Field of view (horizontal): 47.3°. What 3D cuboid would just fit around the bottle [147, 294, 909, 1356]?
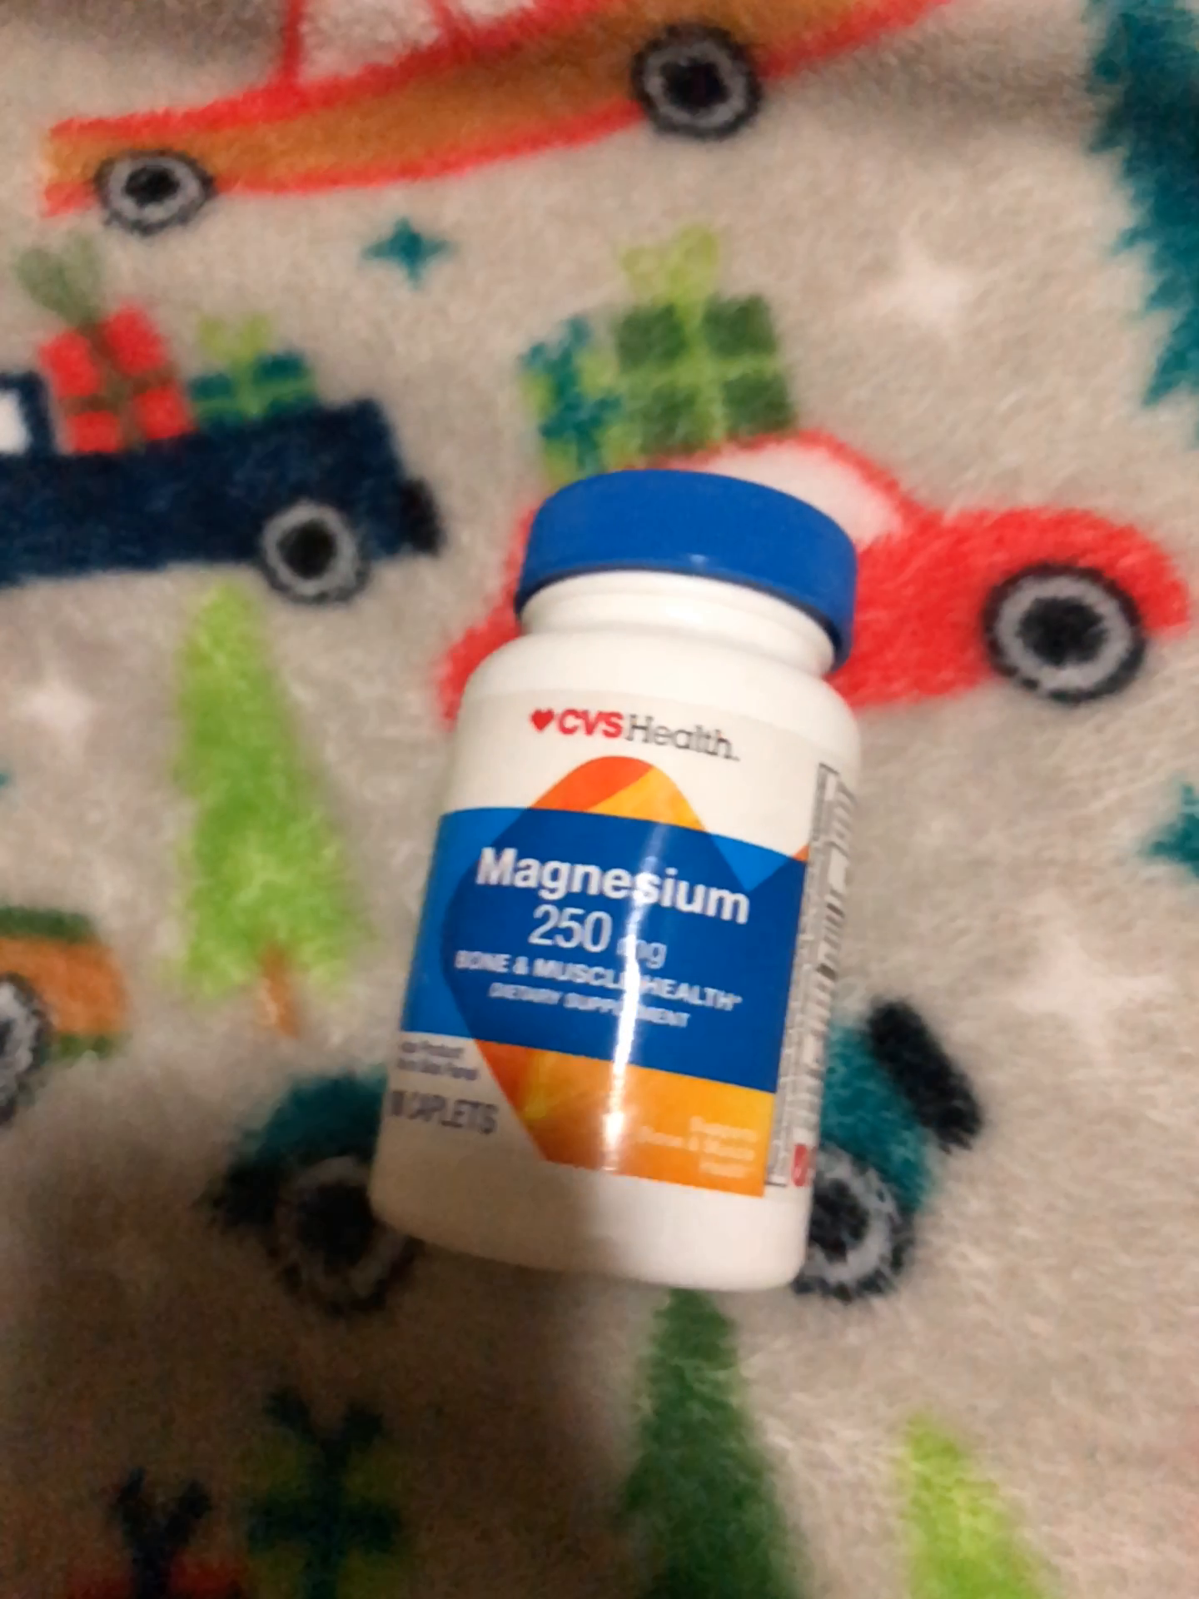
[{"bbox_3d":[0.000,0.002,0.155,0.060,0.050,0.100,5,76,14],"label":"bottle"}]
